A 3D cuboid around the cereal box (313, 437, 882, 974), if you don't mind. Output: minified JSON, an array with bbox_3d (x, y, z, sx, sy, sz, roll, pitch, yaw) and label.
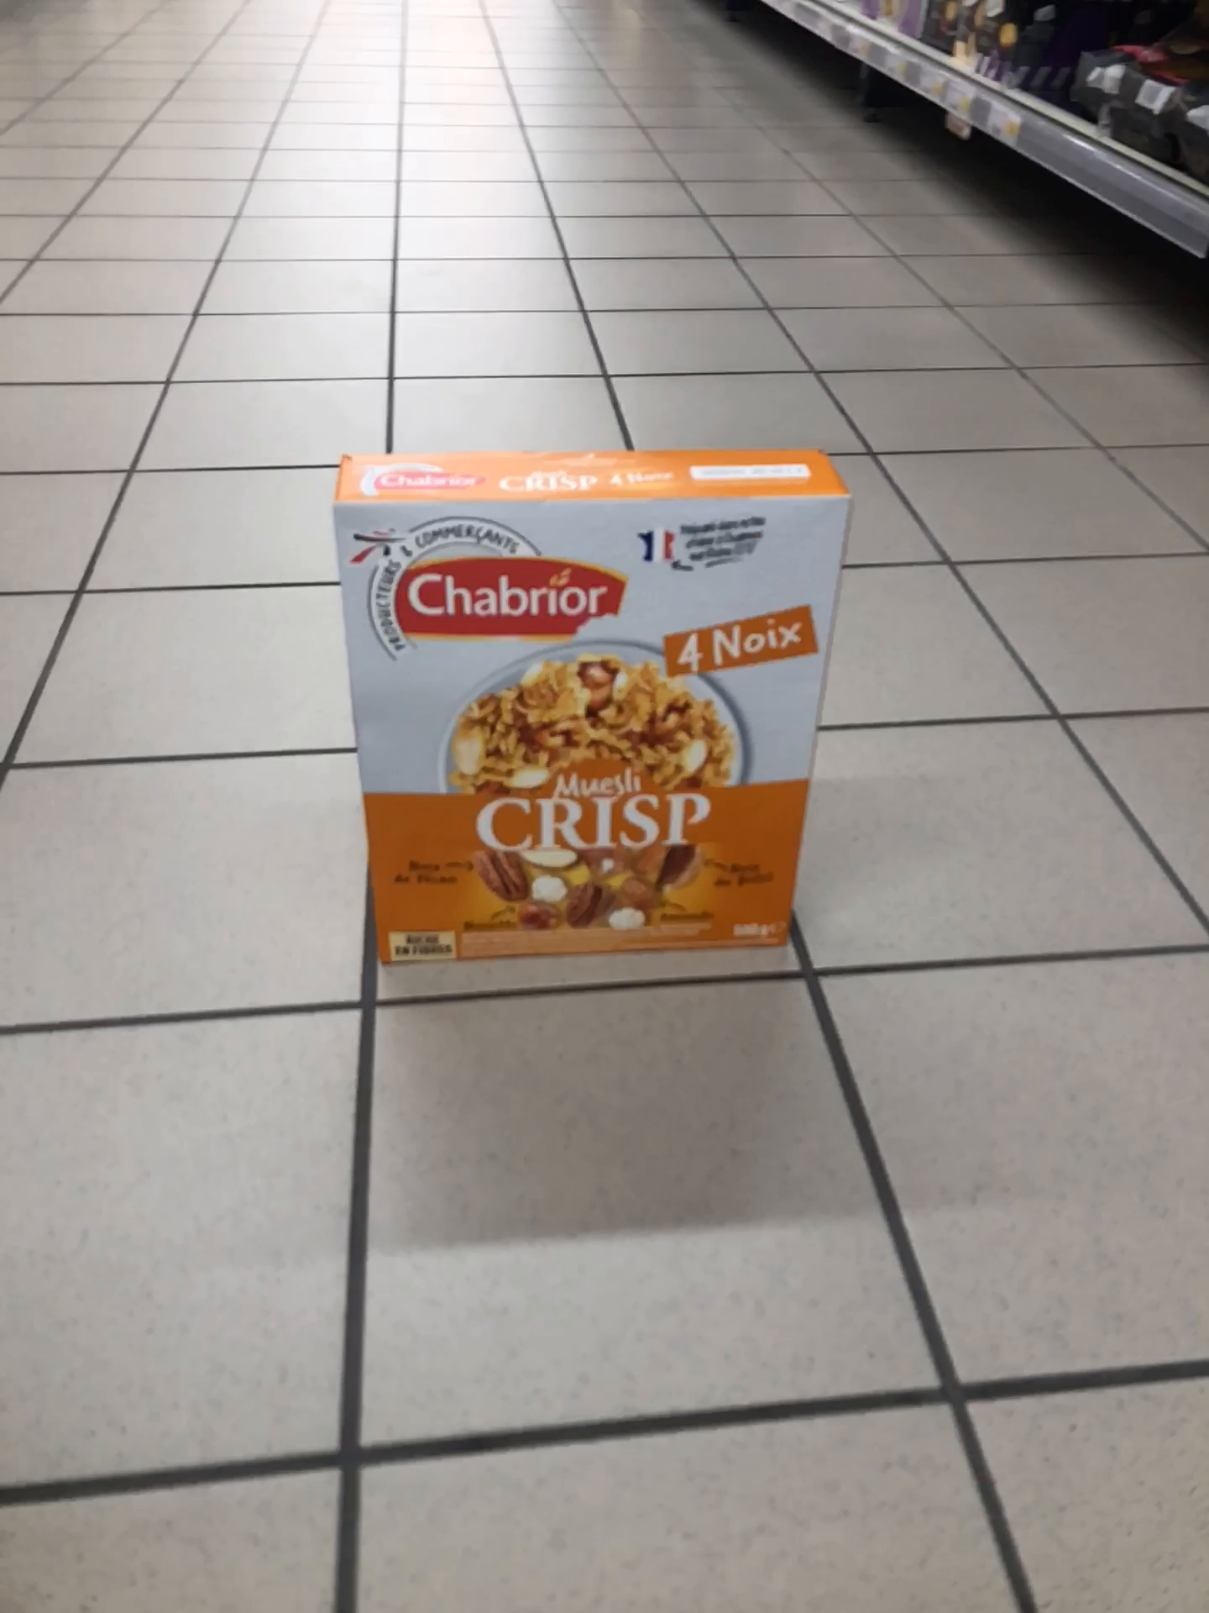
[{"bbox_3d":[-0.006,-0.036,0.548,0.200,0.219,0.060,-2,36,-5],"label":"cereal box"}]
